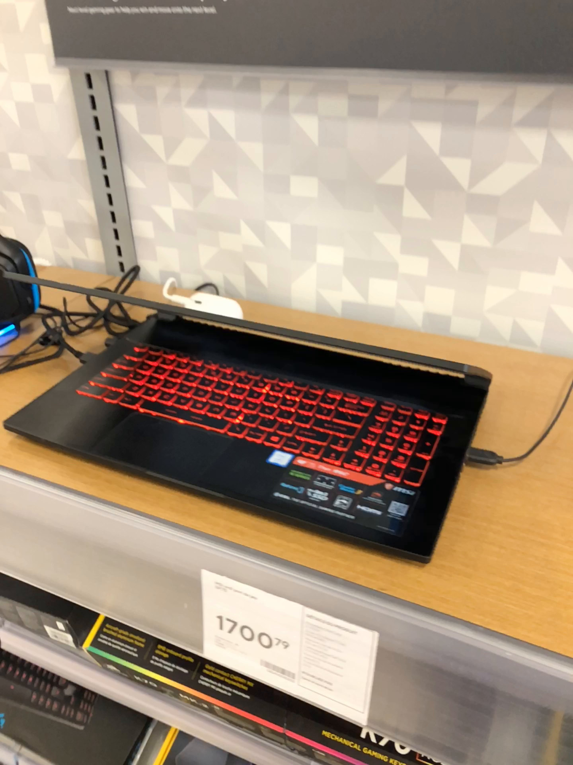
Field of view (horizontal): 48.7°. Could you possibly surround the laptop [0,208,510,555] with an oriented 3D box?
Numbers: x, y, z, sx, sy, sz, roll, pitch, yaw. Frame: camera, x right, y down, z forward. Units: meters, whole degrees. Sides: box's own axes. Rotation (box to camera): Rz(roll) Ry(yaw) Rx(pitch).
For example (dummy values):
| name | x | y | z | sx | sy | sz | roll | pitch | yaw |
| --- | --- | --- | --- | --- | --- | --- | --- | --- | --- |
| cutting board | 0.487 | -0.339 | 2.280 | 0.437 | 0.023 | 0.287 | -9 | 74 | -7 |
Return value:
| name | x | y | z | sx | sy | sz | roll | pitch | yaw |
| --- | --- | --- | --- | --- | --- | --- | --- | --- | --- |
| laptop | -0.030 | -0.037 | 0.575 | 0.393 | 0.133 | 0.249 | 13 | 35 | 22 |
